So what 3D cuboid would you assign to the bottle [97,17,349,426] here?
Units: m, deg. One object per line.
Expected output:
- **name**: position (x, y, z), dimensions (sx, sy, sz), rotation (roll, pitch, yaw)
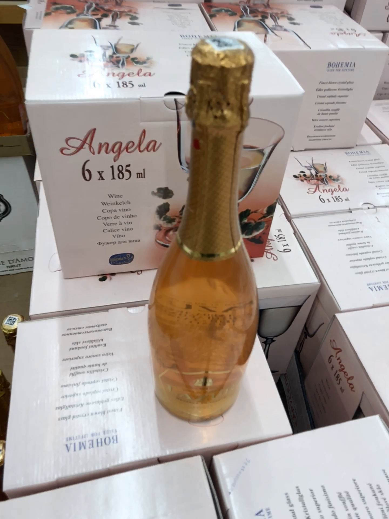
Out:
- **bottle**: position (0.003, 0.009, 0.307), dimensions (0.100, 0.298, 0.090), rotation (3, 45, -2)
